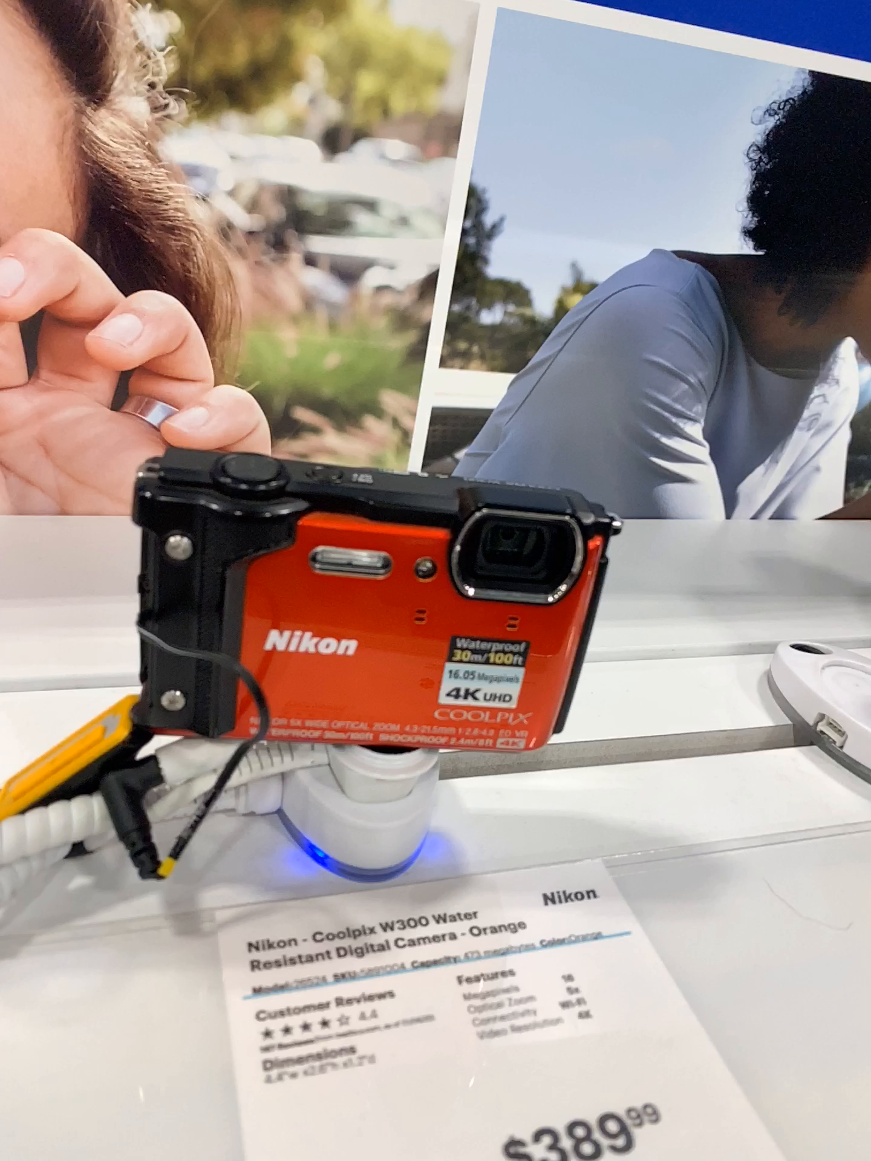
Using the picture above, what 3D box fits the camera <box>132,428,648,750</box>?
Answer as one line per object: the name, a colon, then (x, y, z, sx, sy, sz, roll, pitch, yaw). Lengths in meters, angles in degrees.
camera: (-0.013, 0.005, 0.206, 0.105, 0.063, 0.025, 4, 27, -13)
